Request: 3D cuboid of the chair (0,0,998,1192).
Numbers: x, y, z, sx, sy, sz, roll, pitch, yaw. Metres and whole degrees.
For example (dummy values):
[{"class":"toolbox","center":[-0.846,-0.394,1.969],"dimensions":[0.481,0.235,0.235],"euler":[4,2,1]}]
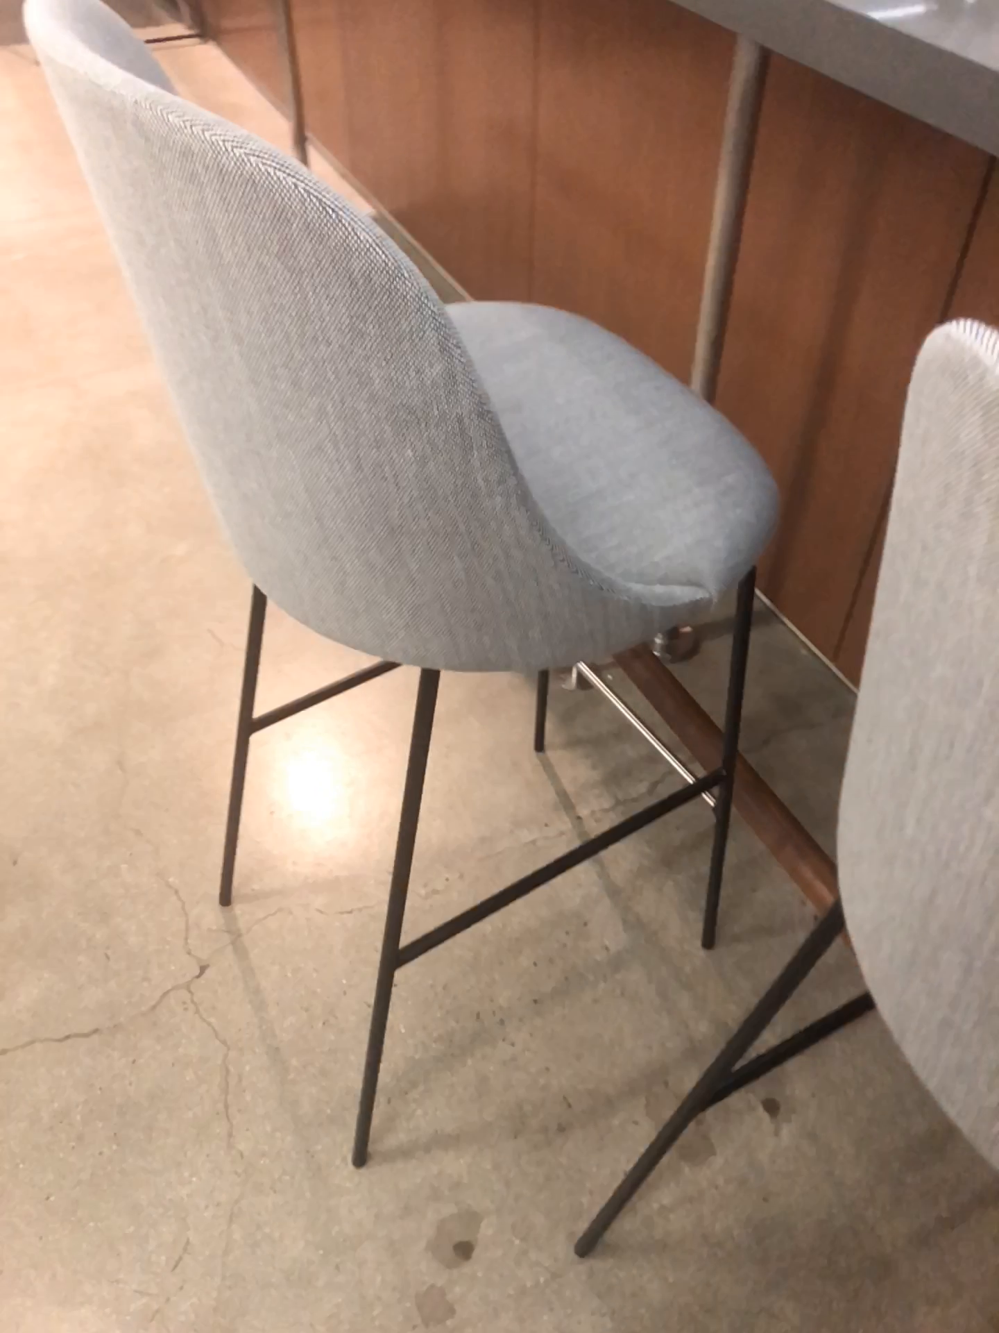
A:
[{"class":"chair","center":[-0.028,-0.085,1.080],"dimensions":[0.632,1.090,0.513],"euler":[-22,49,-21]}]
